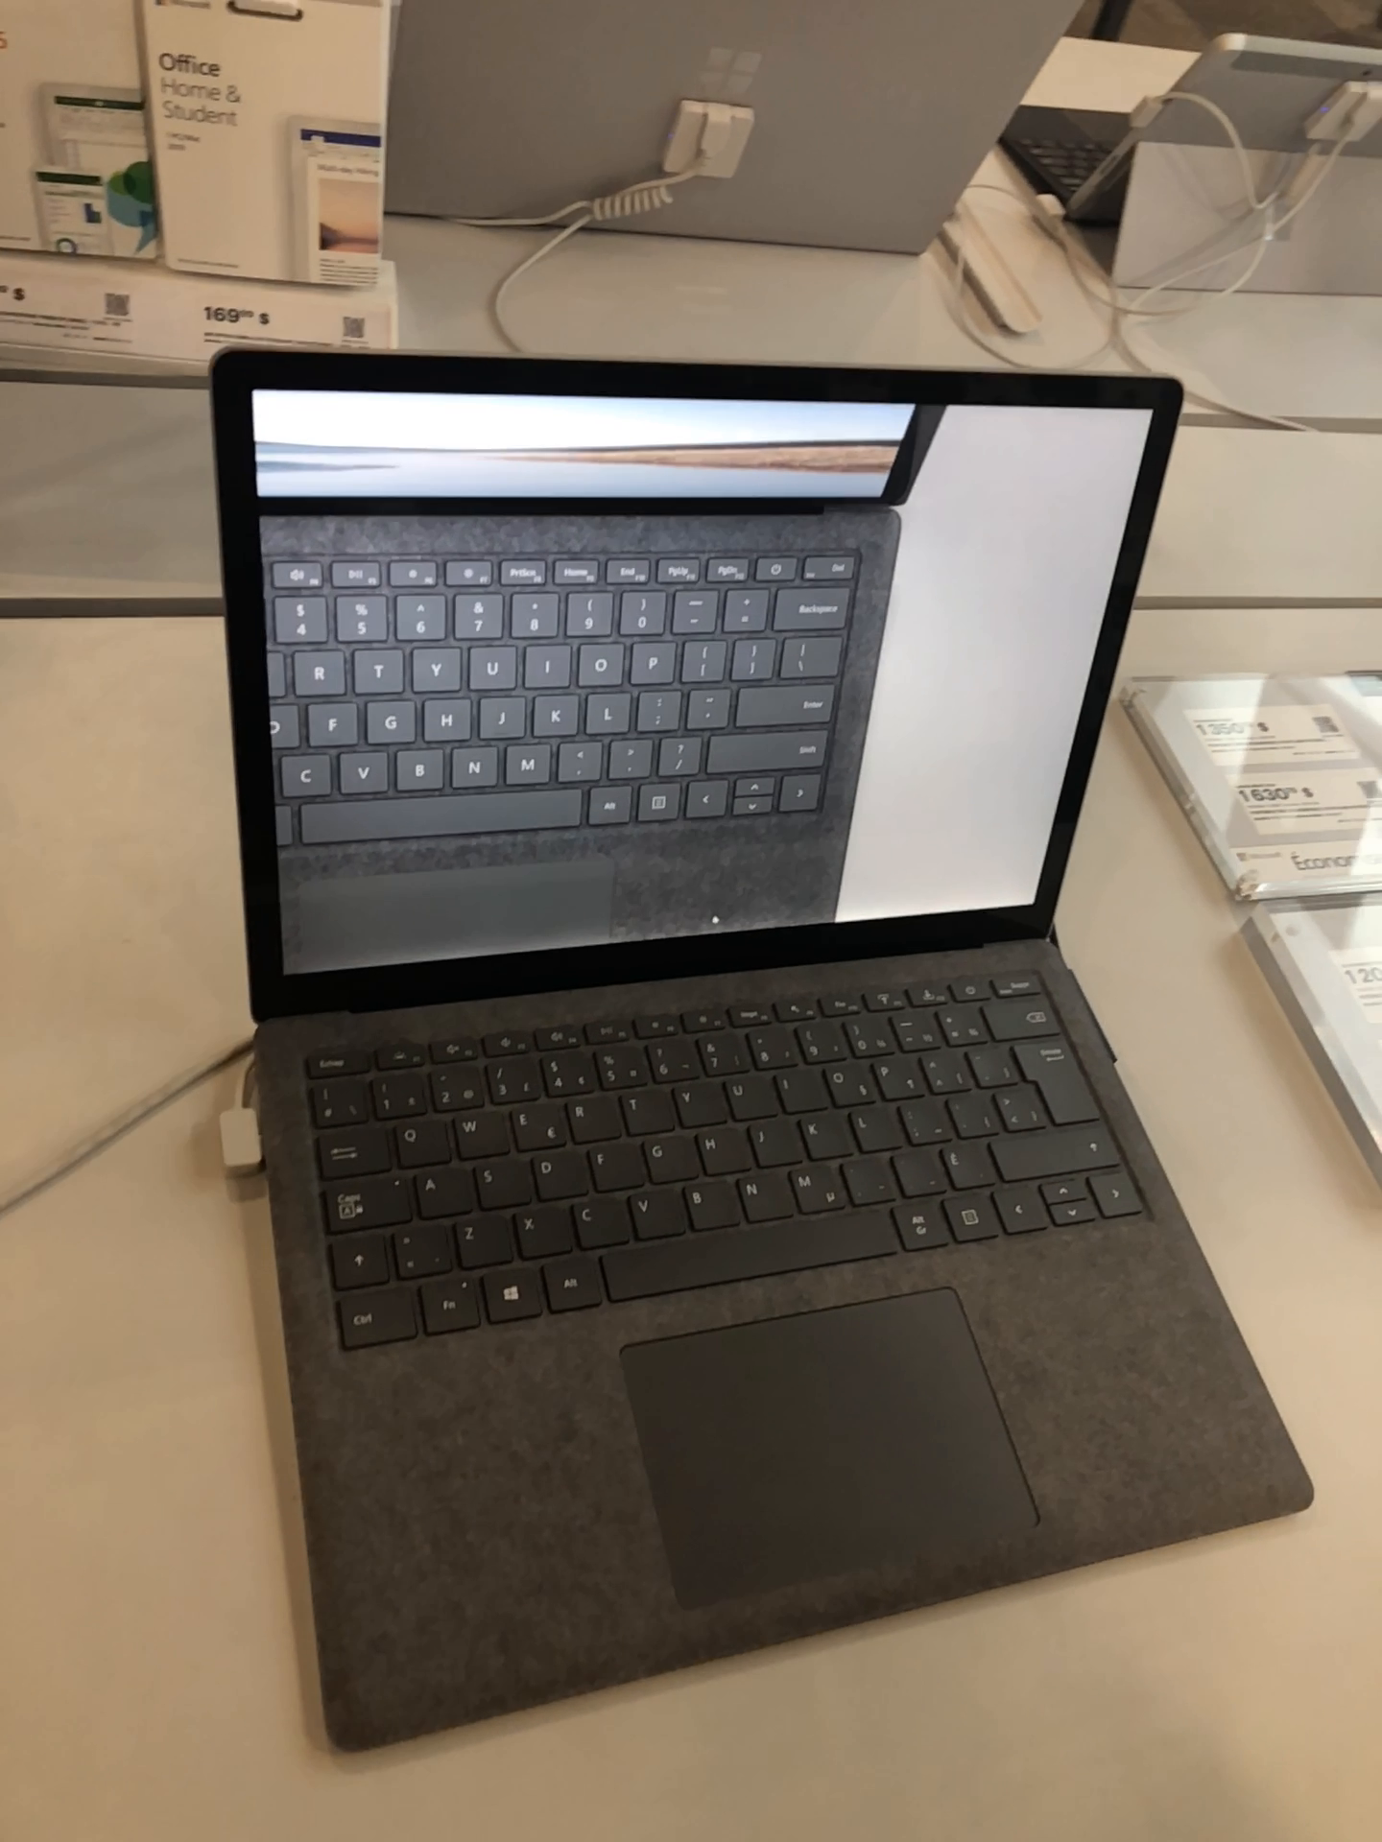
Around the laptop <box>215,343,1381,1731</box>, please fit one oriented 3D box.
[{"bbox_3d":[0.034,0.015,0.439,0.297,0.197,0.295,-5,54,-19],"label":"laptop"}]
